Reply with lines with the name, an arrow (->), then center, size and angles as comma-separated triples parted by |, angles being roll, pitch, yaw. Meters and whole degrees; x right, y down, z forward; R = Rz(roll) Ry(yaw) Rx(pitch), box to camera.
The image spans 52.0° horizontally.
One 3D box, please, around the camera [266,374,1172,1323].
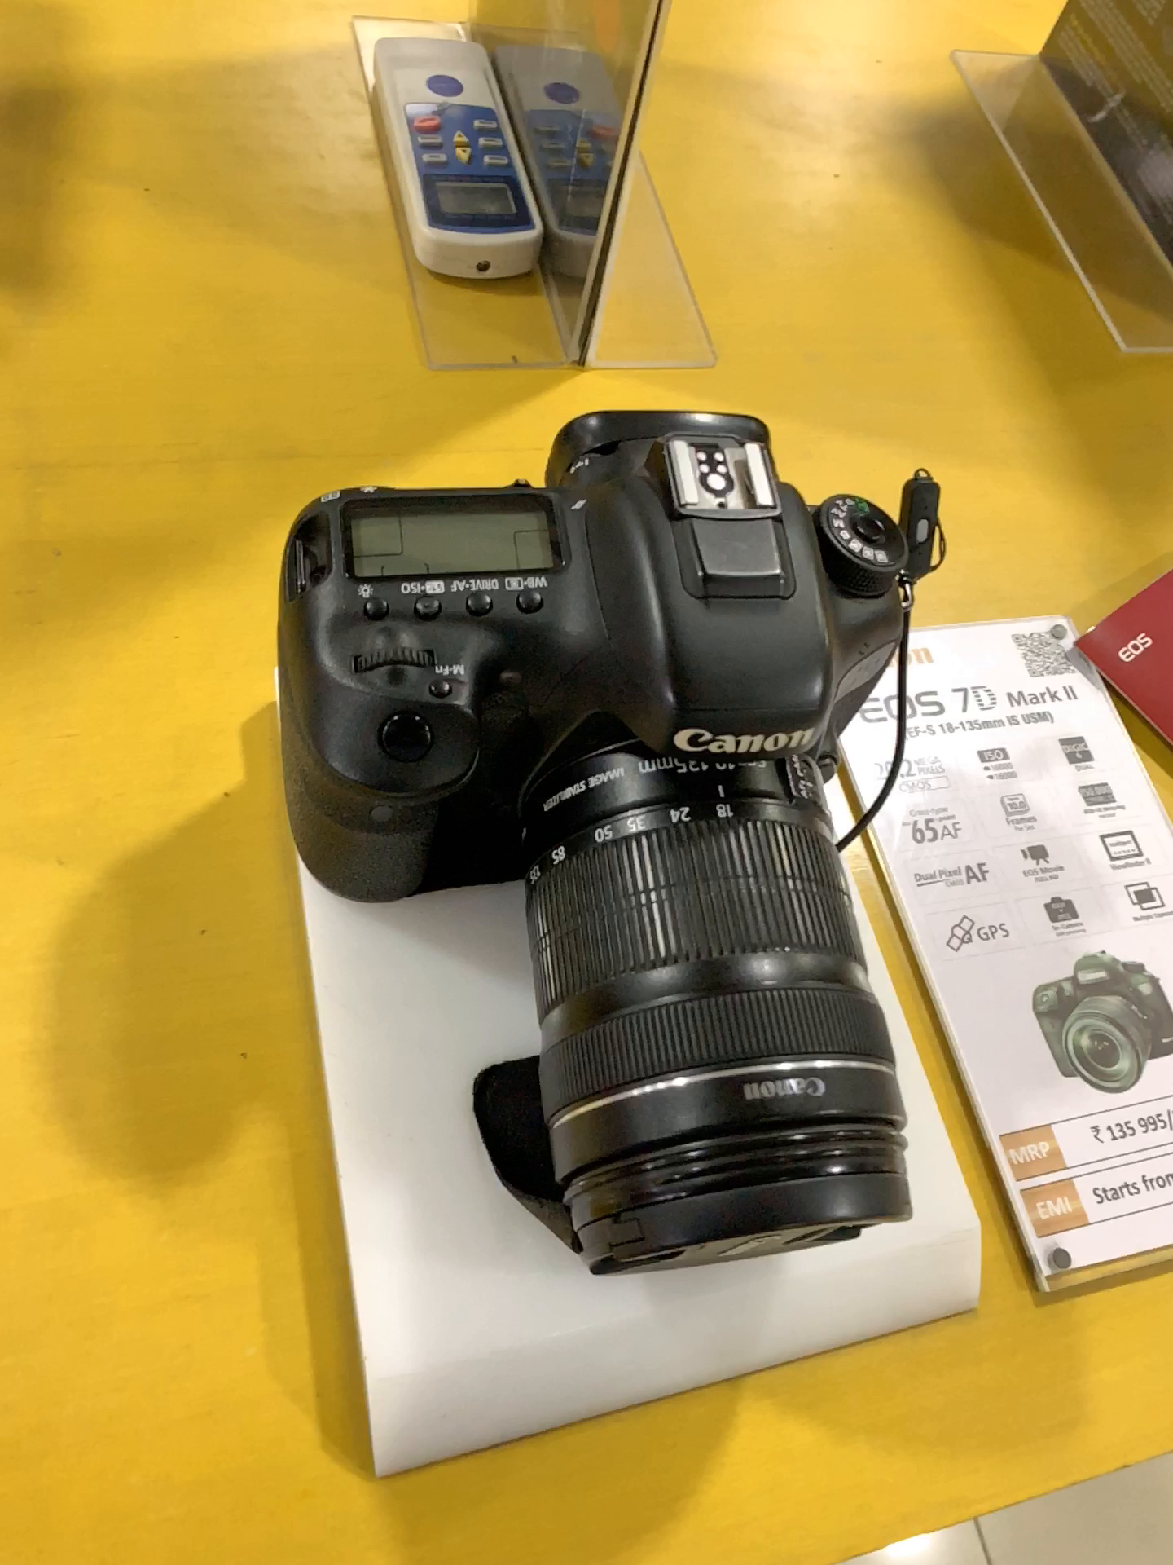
camera -> 0.007, 0.017, 0.265 | 0.140, 0.120, 0.160 | -3, 63, -14
